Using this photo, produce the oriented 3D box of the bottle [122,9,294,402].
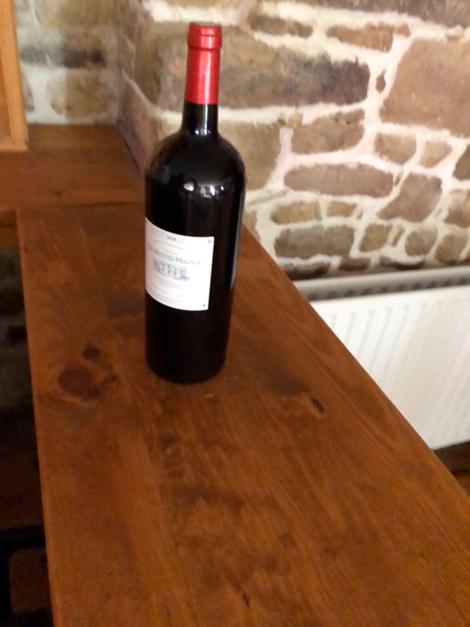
[{"bbox_3d":[-0.039,-0.089,0.508,0.100,0.348,0.101,6,34,-4],"label":"bottle"}]
